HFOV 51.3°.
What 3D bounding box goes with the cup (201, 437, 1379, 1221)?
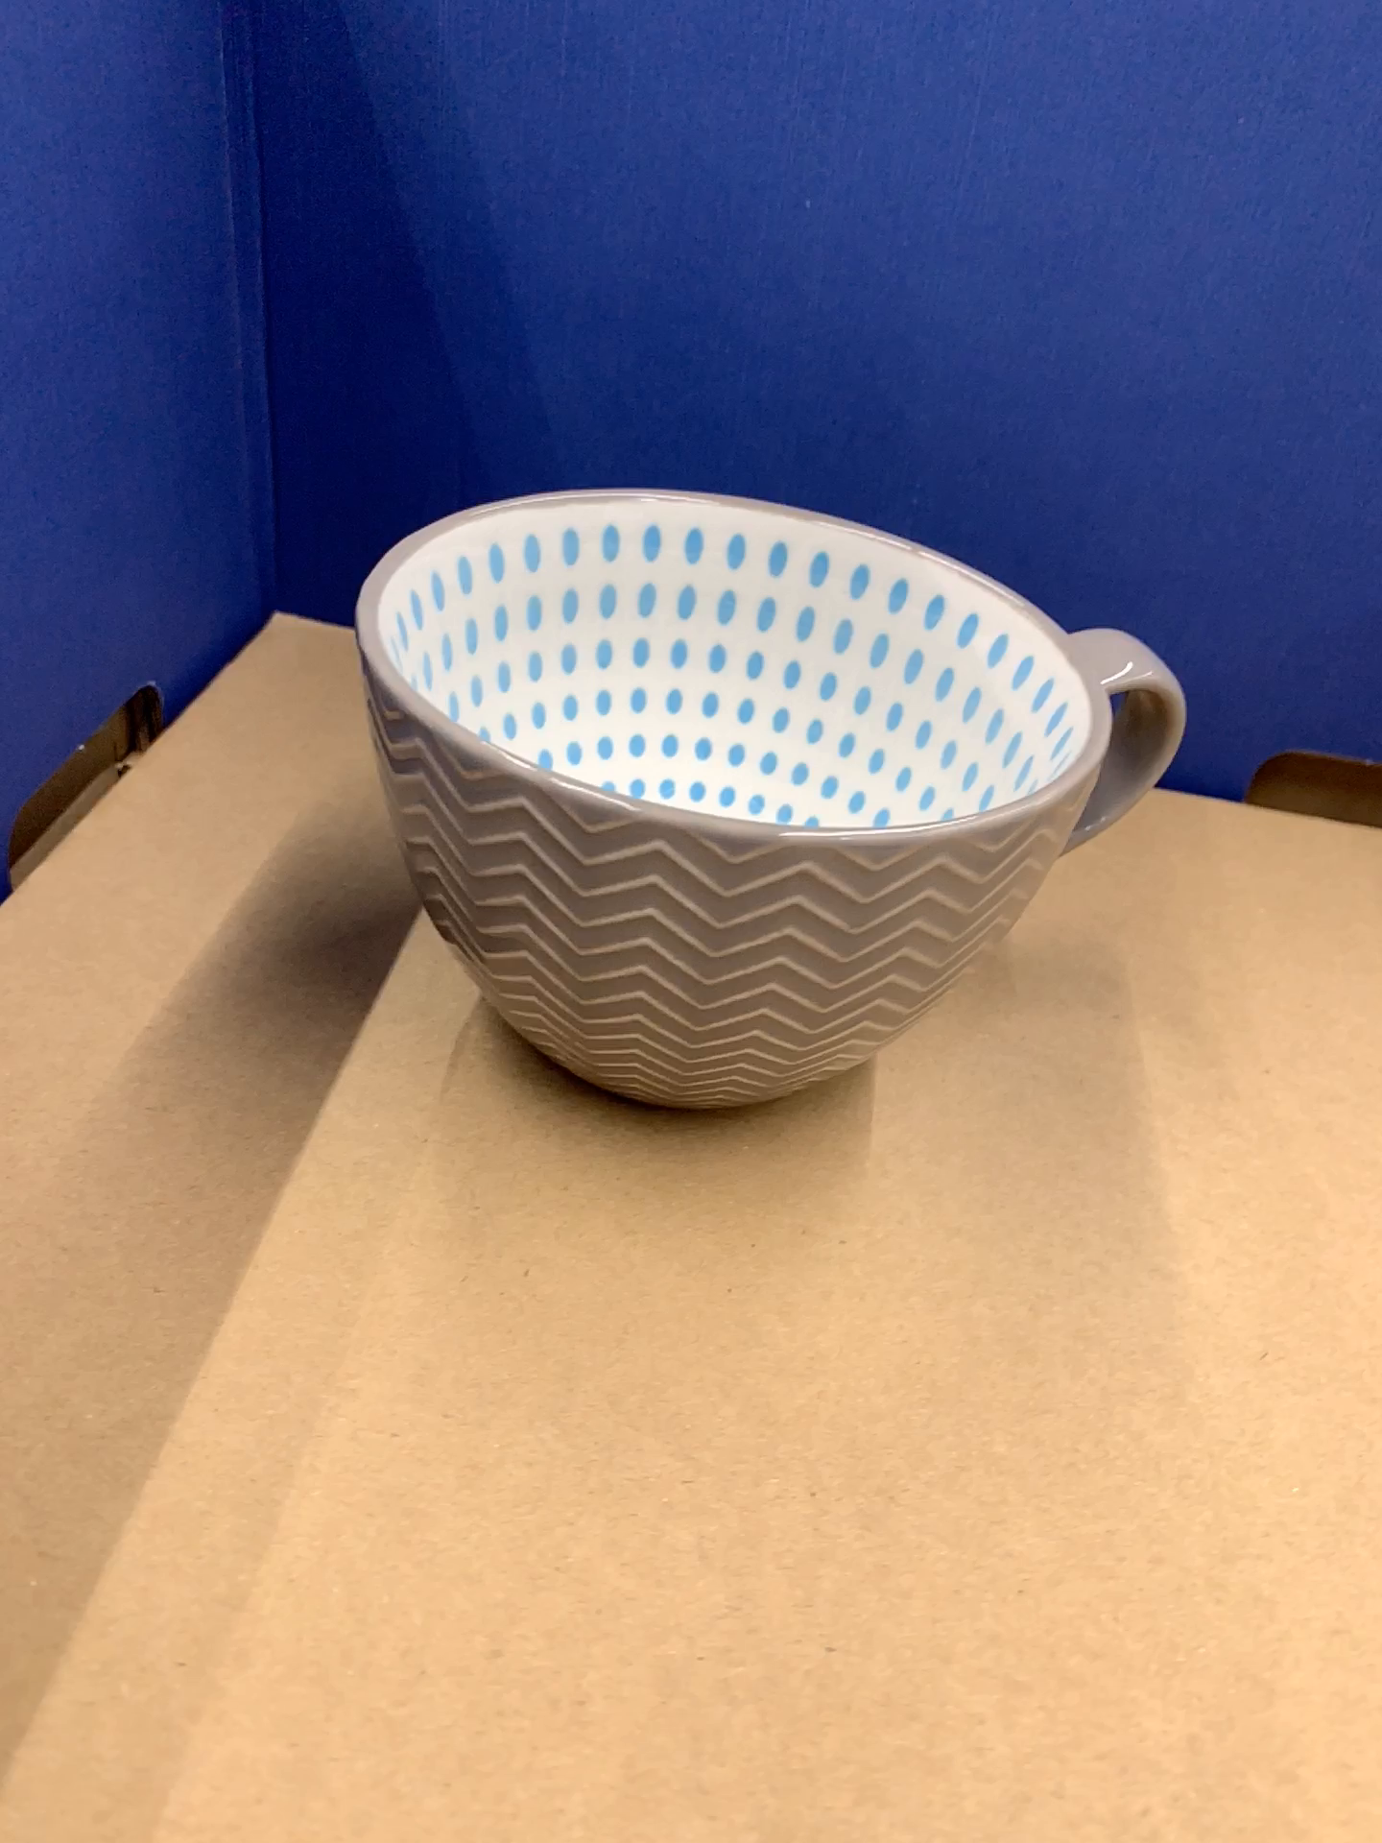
[{"bbox_3d":[0.012,-0.031,0.240,0.150,0.058,0.109,-14,40,-29],"label":"cup"}]
